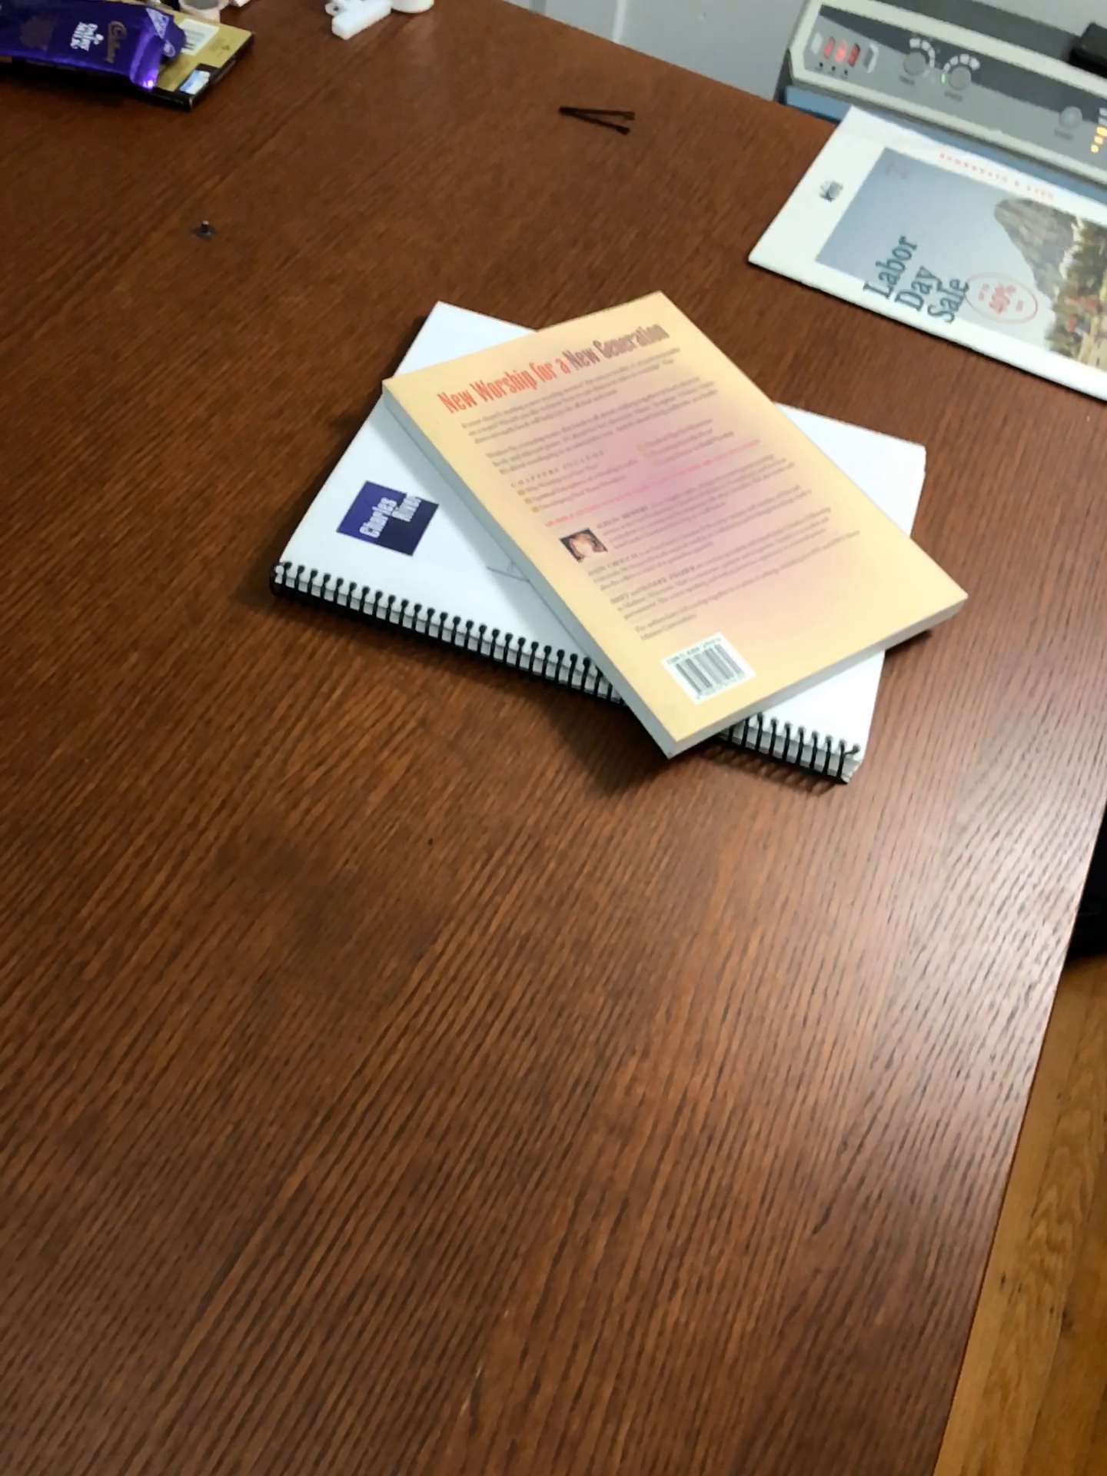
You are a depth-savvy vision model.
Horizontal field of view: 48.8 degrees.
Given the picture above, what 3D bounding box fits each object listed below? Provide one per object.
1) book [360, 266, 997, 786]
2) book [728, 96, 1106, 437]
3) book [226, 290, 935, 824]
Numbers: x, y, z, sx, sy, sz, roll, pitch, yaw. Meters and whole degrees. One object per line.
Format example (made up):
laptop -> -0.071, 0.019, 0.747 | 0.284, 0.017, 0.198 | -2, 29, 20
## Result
book -> 0.054, -0.120, 0.589 | 0.190, 0.020, 0.261 | -26, 64, -22
book -> 0.267, -0.299, 0.748 | 0.270, 0.010, 0.201 | 25, 57, 9
book -> 0.027, -0.103, 0.595 | 0.290, 0.020, 0.231 | 18, 56, 4
